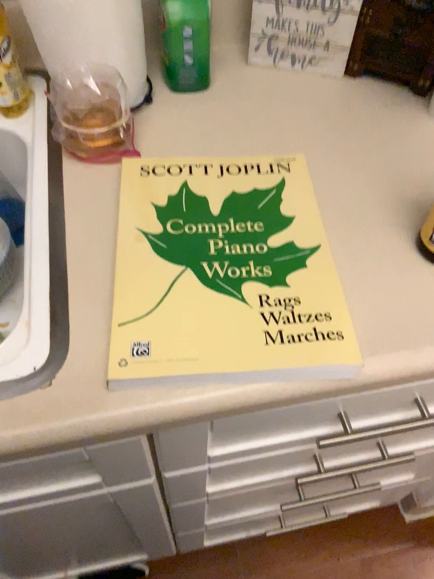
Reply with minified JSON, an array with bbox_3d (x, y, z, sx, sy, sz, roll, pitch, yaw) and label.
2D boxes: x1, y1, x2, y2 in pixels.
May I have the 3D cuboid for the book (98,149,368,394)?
[{"bbox_3d":[0.005,-0.044,0.538,0.240,0.030,0.320,-2,53,-4],"label":"book"}]
